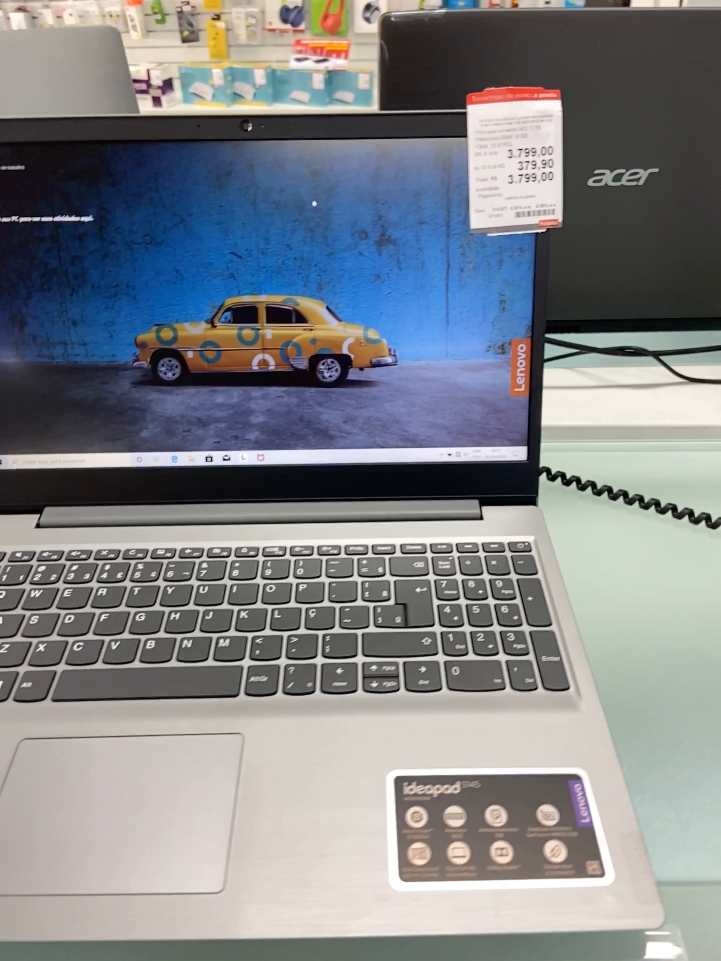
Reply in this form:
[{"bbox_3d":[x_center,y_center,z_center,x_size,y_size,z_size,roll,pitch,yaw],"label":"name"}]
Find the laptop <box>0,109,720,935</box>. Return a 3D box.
[{"bbox_3d":[-0.066,-0.020,0.366,0.364,0.213,0.362,-1,38,1],"label":"laptop"}]
